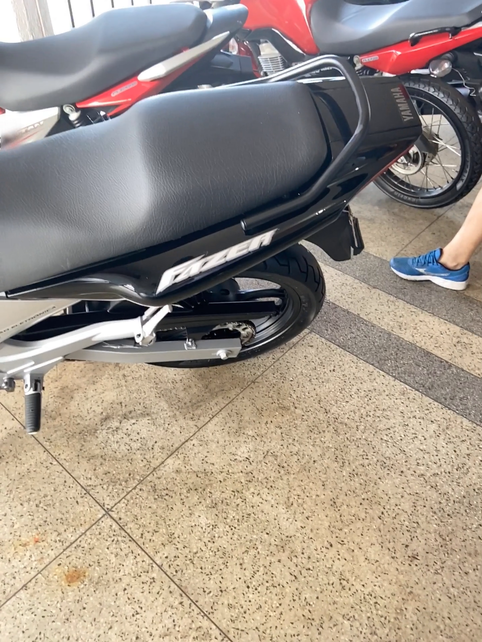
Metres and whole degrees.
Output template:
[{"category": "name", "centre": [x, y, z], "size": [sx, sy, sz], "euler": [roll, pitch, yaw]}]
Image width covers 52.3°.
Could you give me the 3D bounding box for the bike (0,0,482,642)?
[{"category": "bike", "centre": [-0.641, -0.082, 1.075], "size": [1.880, 1.511, 0.846], "euler": [-15, 43, -20]}]
